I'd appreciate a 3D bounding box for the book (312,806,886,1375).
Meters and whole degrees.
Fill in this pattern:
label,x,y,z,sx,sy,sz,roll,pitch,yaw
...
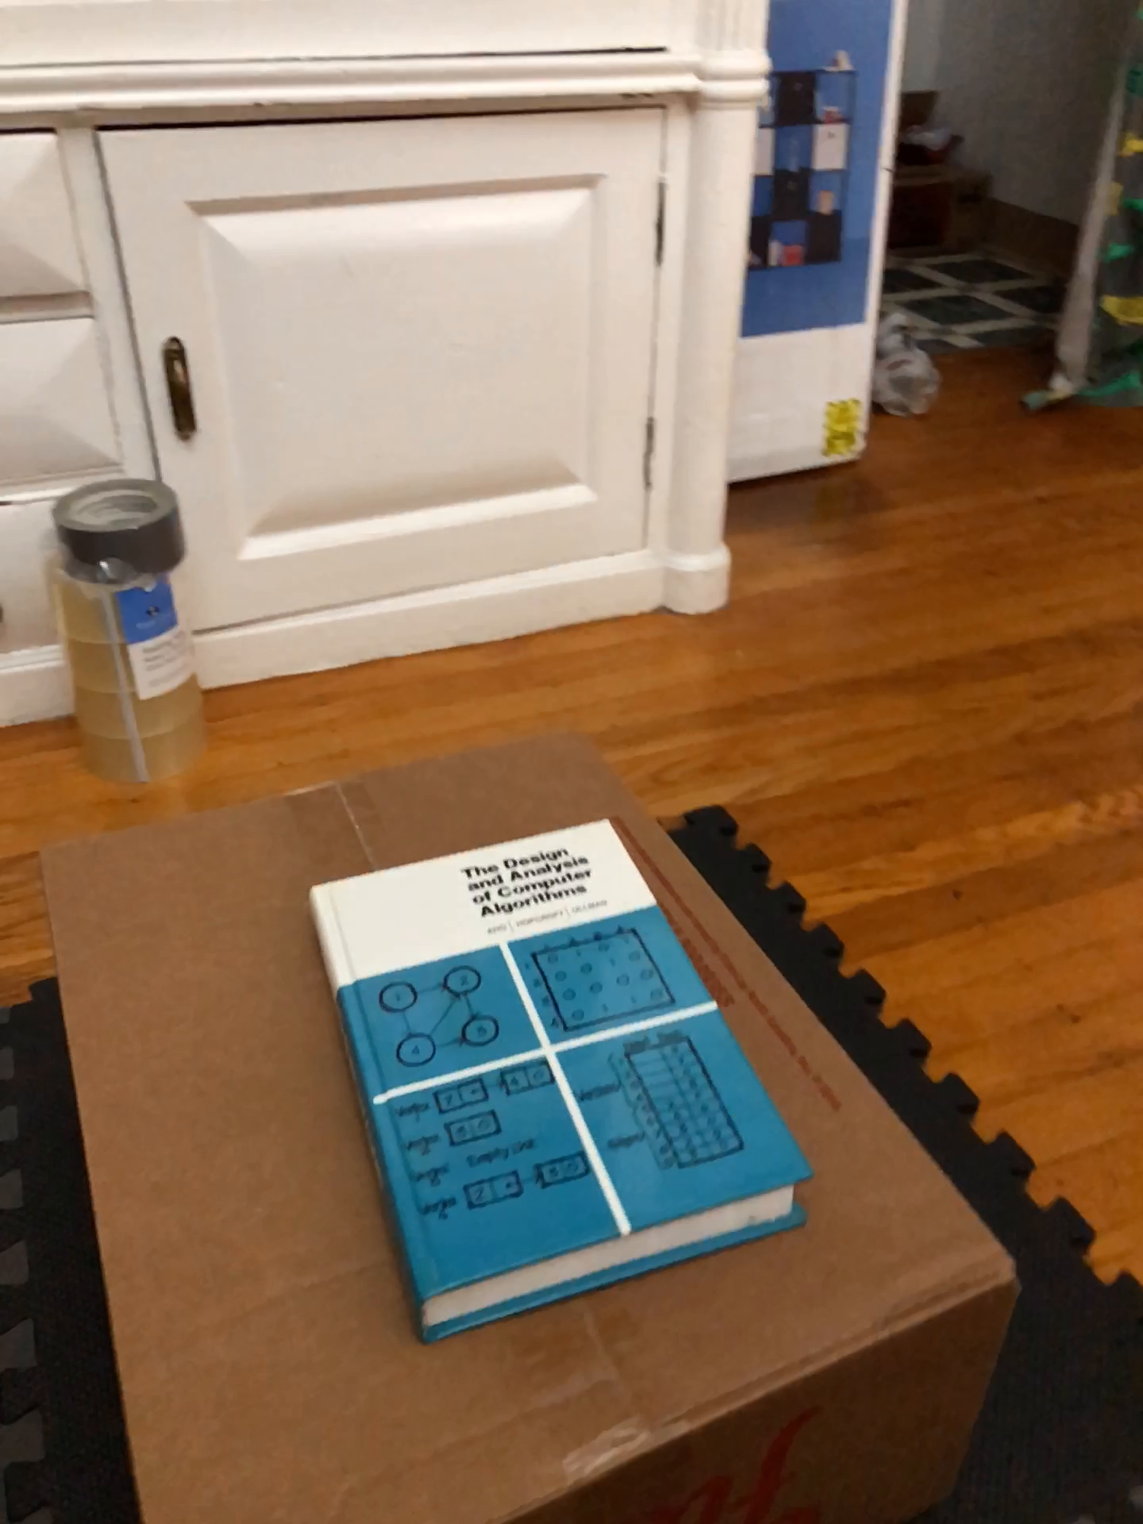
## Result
label,x,y,z,sx,sy,sz,roll,pitch,yaw
book,-0.005,0.130,0.597,0.190,0.040,0.261,-10,37,-16
